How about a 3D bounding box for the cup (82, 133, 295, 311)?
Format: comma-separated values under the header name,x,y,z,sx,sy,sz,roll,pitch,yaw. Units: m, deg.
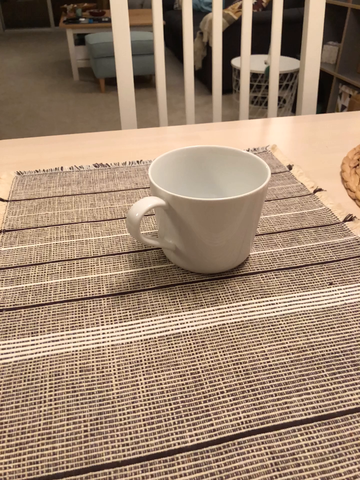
name,x,y,z,sx,sy,sz,roll,pitch,yaw
cup,0.009,-0.026,0.339,0.141,0.070,0.100,-28,44,-33
